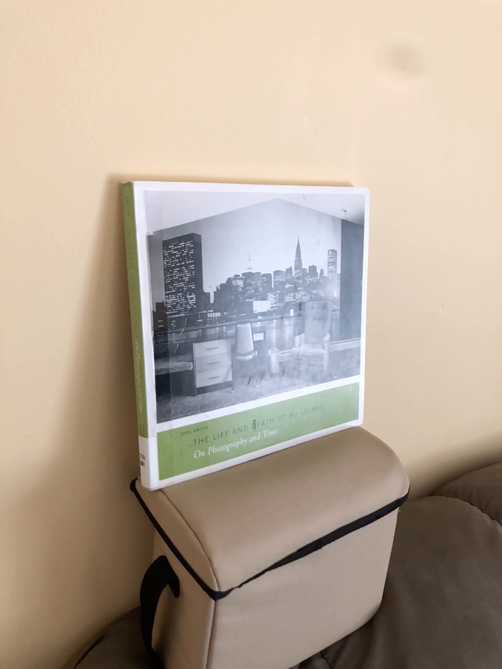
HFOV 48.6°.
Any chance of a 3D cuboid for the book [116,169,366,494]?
[{"bbox_3d":[0.008,-0.012,0.419,0.216,0.204,0.020,-9,12,-39],"label":"book"}]
